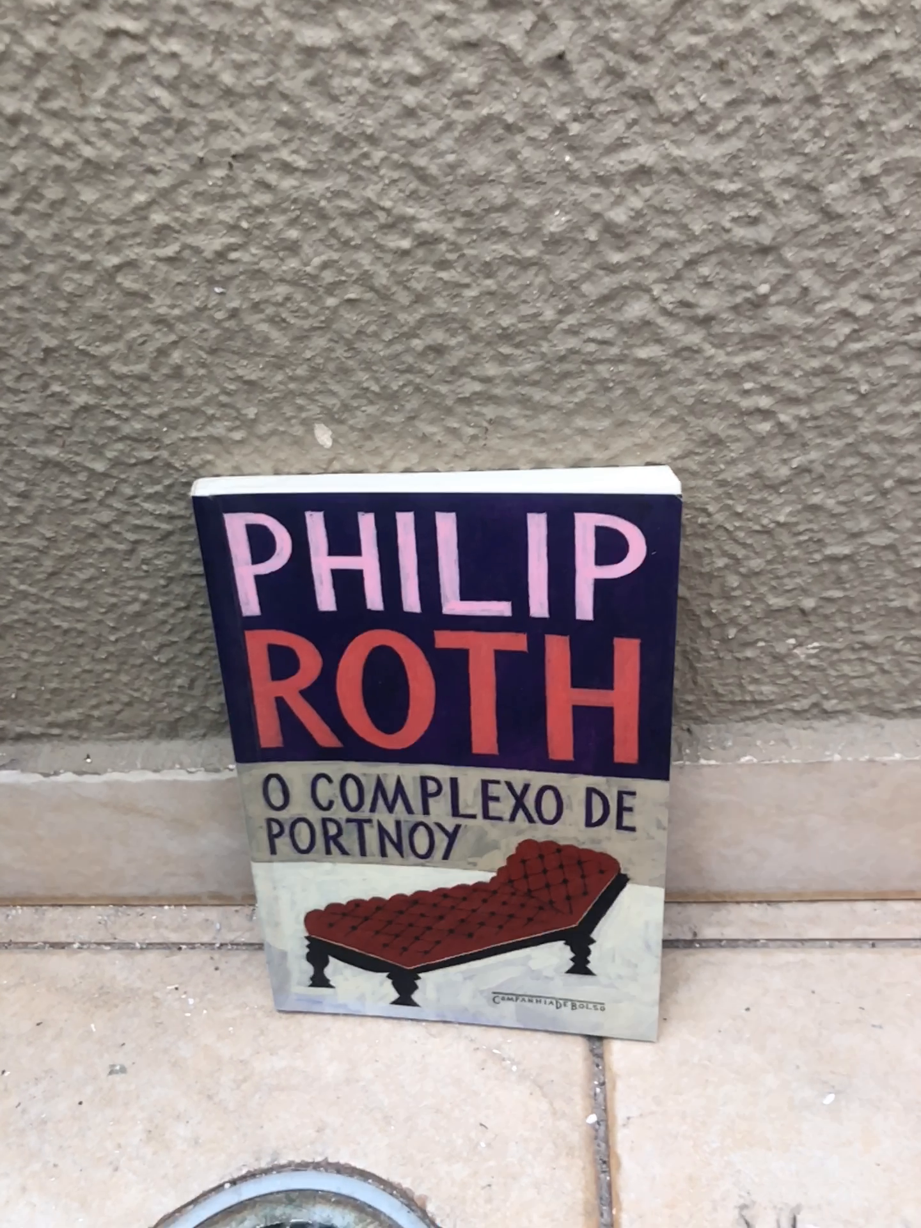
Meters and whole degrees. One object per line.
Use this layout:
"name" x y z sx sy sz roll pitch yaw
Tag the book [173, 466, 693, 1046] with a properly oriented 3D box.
"book" -0.002 0.047 0.295 0.126 0.178 0.023 1 27 9
